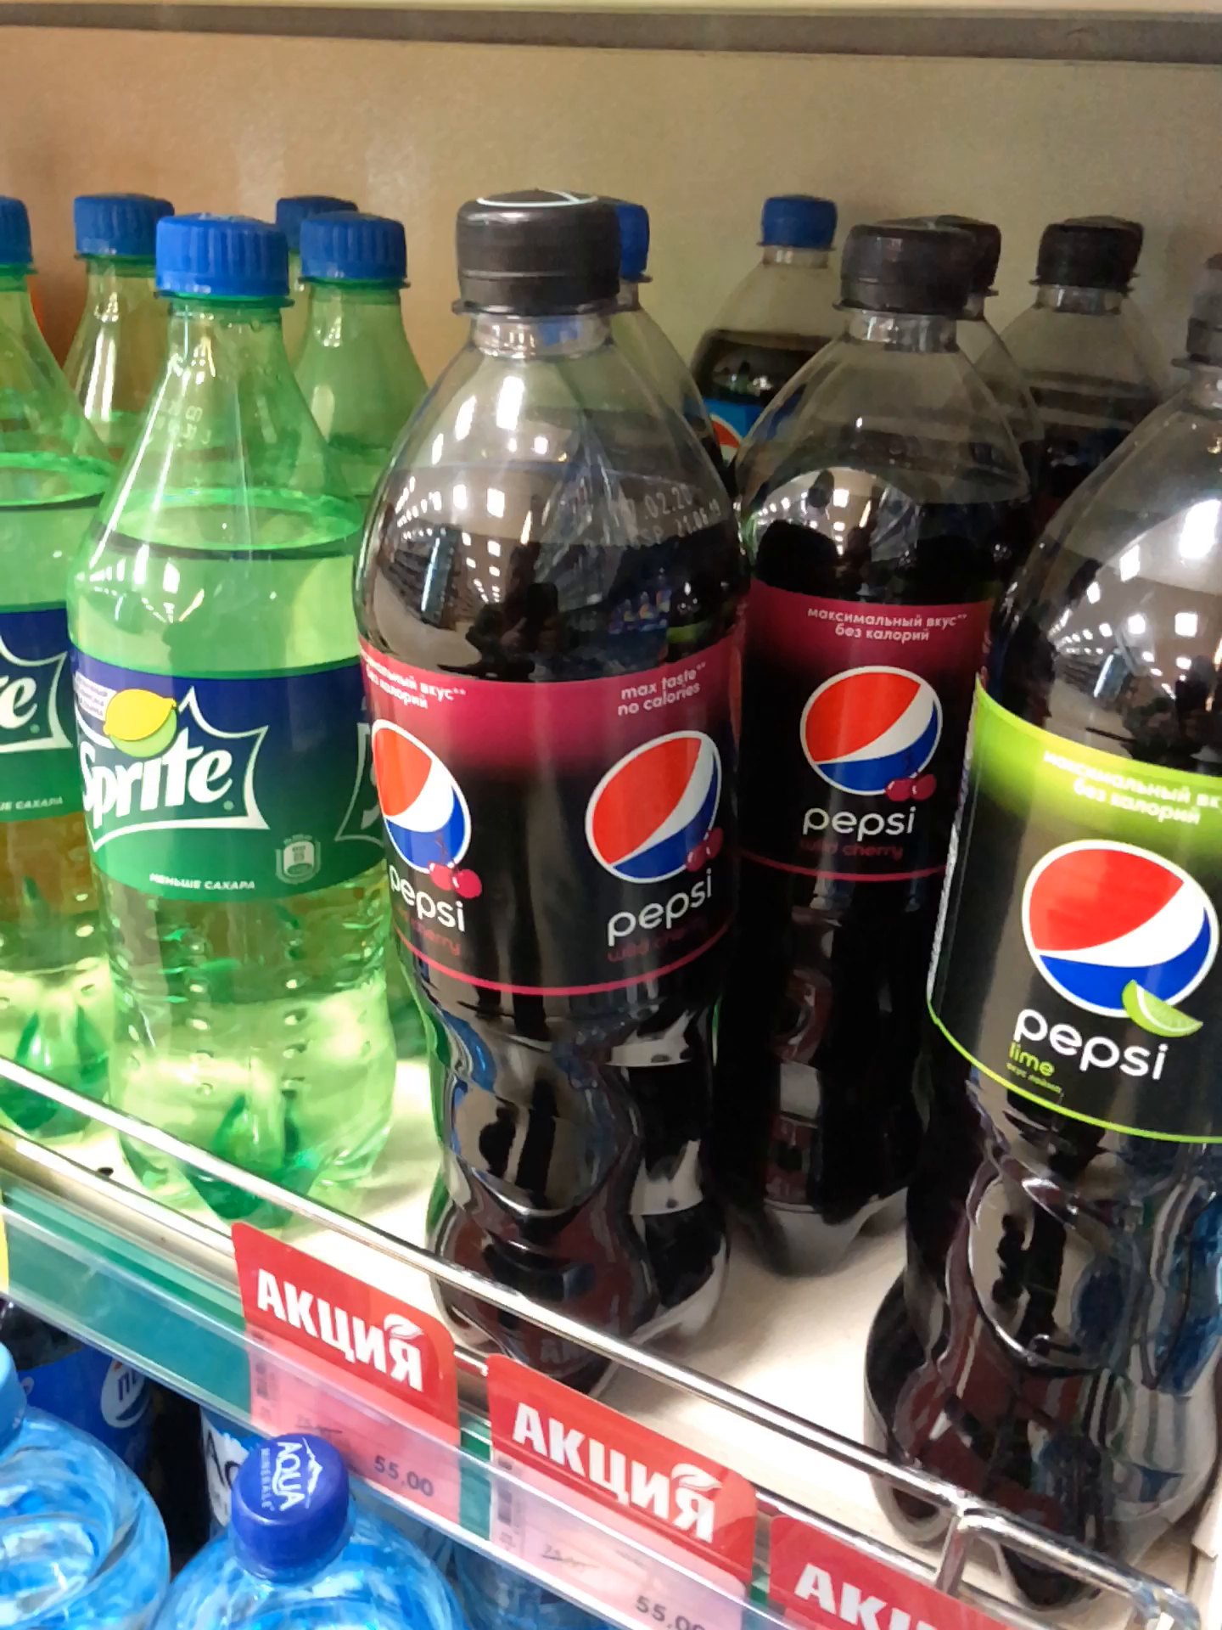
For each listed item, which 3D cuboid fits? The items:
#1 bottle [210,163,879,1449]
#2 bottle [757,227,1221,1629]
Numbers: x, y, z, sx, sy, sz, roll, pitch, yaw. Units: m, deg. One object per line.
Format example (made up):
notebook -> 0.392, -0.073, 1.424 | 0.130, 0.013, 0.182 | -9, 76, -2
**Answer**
bottle -> -0.012, 0.004, 0.295 | 0.086, 0.256, 0.077 | 23, 36, 34
bottle -> 0.100, 0.033, 0.263 | 0.086, 0.263, 0.077 | 23, 32, 34
